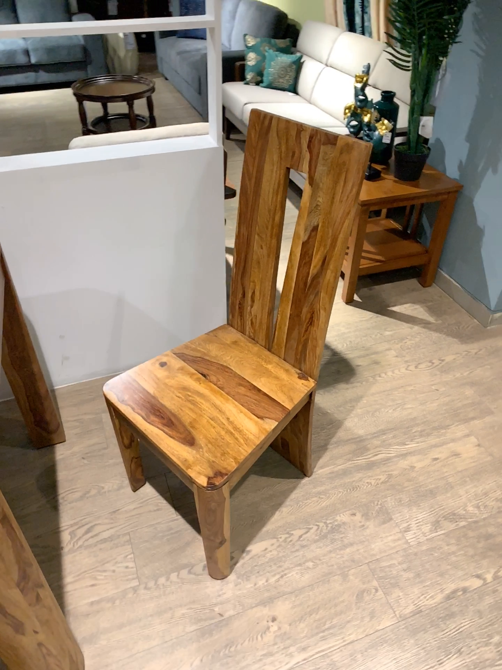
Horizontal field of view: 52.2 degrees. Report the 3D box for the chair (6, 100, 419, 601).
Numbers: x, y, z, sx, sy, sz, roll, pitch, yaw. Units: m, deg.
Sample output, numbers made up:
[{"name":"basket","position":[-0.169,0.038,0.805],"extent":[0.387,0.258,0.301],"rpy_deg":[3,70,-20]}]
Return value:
[{"name":"chair","position":[-0.060,0.040,1.274],"extent":[0.501,0.966,0.601],"rpy_deg":[30,48,31]}]
